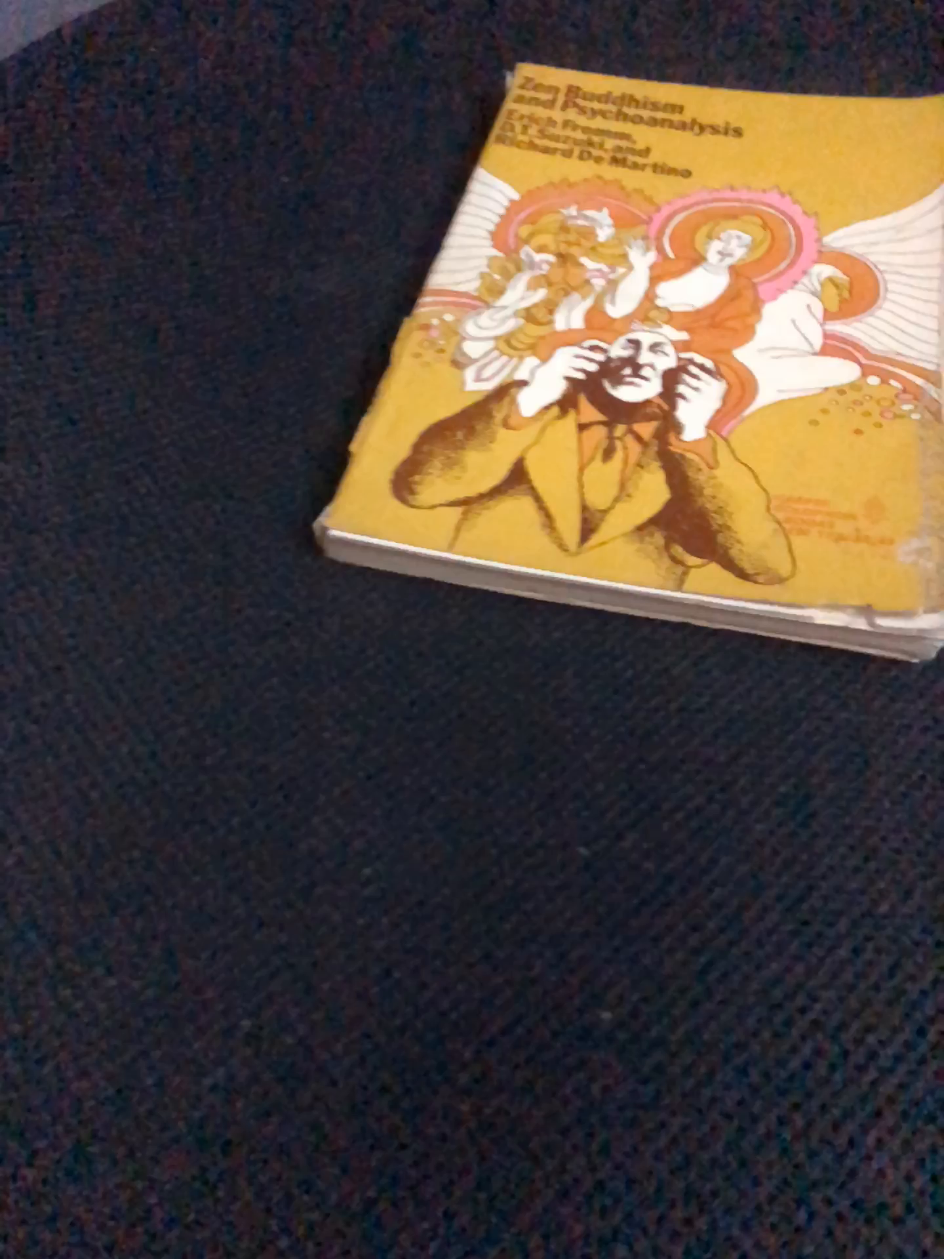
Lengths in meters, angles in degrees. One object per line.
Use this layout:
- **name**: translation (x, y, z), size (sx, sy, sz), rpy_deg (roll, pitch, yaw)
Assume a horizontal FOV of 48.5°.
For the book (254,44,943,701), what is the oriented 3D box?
- **book**: translation (0.042, -0.083, 0.267), size (0.136, 0.020, 0.201), rpy_deg (8, 57, 7)
